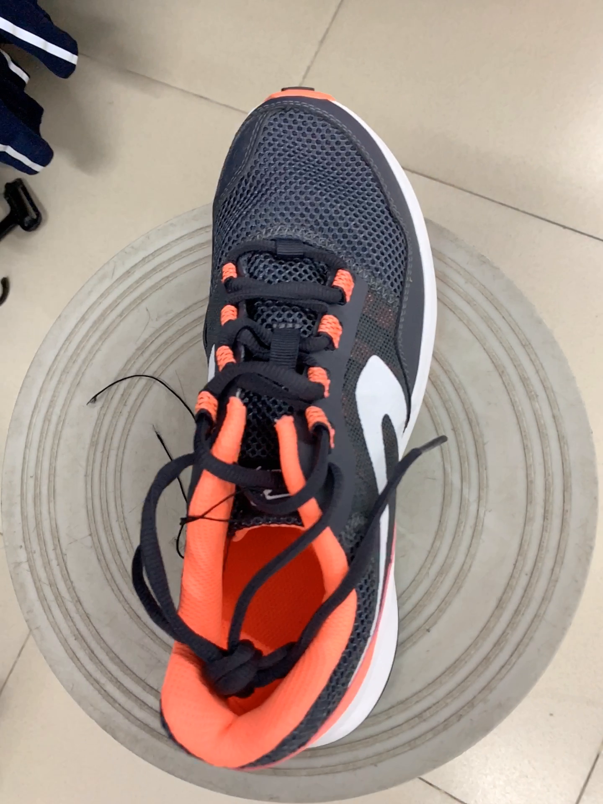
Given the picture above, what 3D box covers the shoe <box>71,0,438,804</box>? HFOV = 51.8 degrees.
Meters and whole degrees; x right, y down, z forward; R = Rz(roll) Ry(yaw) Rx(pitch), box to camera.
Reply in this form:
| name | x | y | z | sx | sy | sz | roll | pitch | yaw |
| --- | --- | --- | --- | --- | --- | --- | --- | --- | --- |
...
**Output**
| name | x | y | z | sx | sy | sz | roll | pitch | yaw |
| --- | --- | --- | --- | --- | --- | --- | --- | --- | --- |
| shoe | -0.002 | -0.004 | 0.262 | 0.100 | 0.120 | 0.290 | 3 | 82 | 11 |
